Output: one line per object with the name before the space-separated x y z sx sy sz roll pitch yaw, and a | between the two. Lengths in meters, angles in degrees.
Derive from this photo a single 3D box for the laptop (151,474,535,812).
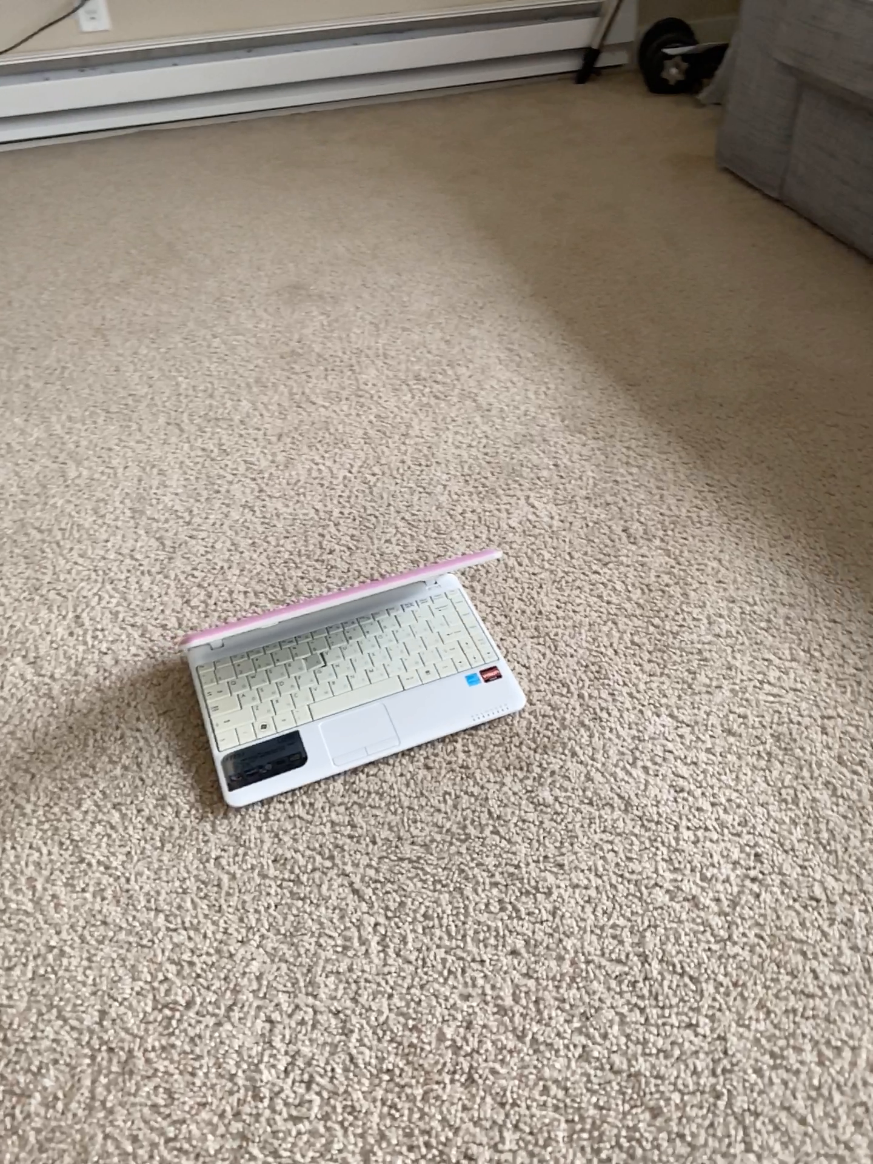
laptop | -0.087 0.047 0.831 0.297 0.122 0.198 -17 48 -13
